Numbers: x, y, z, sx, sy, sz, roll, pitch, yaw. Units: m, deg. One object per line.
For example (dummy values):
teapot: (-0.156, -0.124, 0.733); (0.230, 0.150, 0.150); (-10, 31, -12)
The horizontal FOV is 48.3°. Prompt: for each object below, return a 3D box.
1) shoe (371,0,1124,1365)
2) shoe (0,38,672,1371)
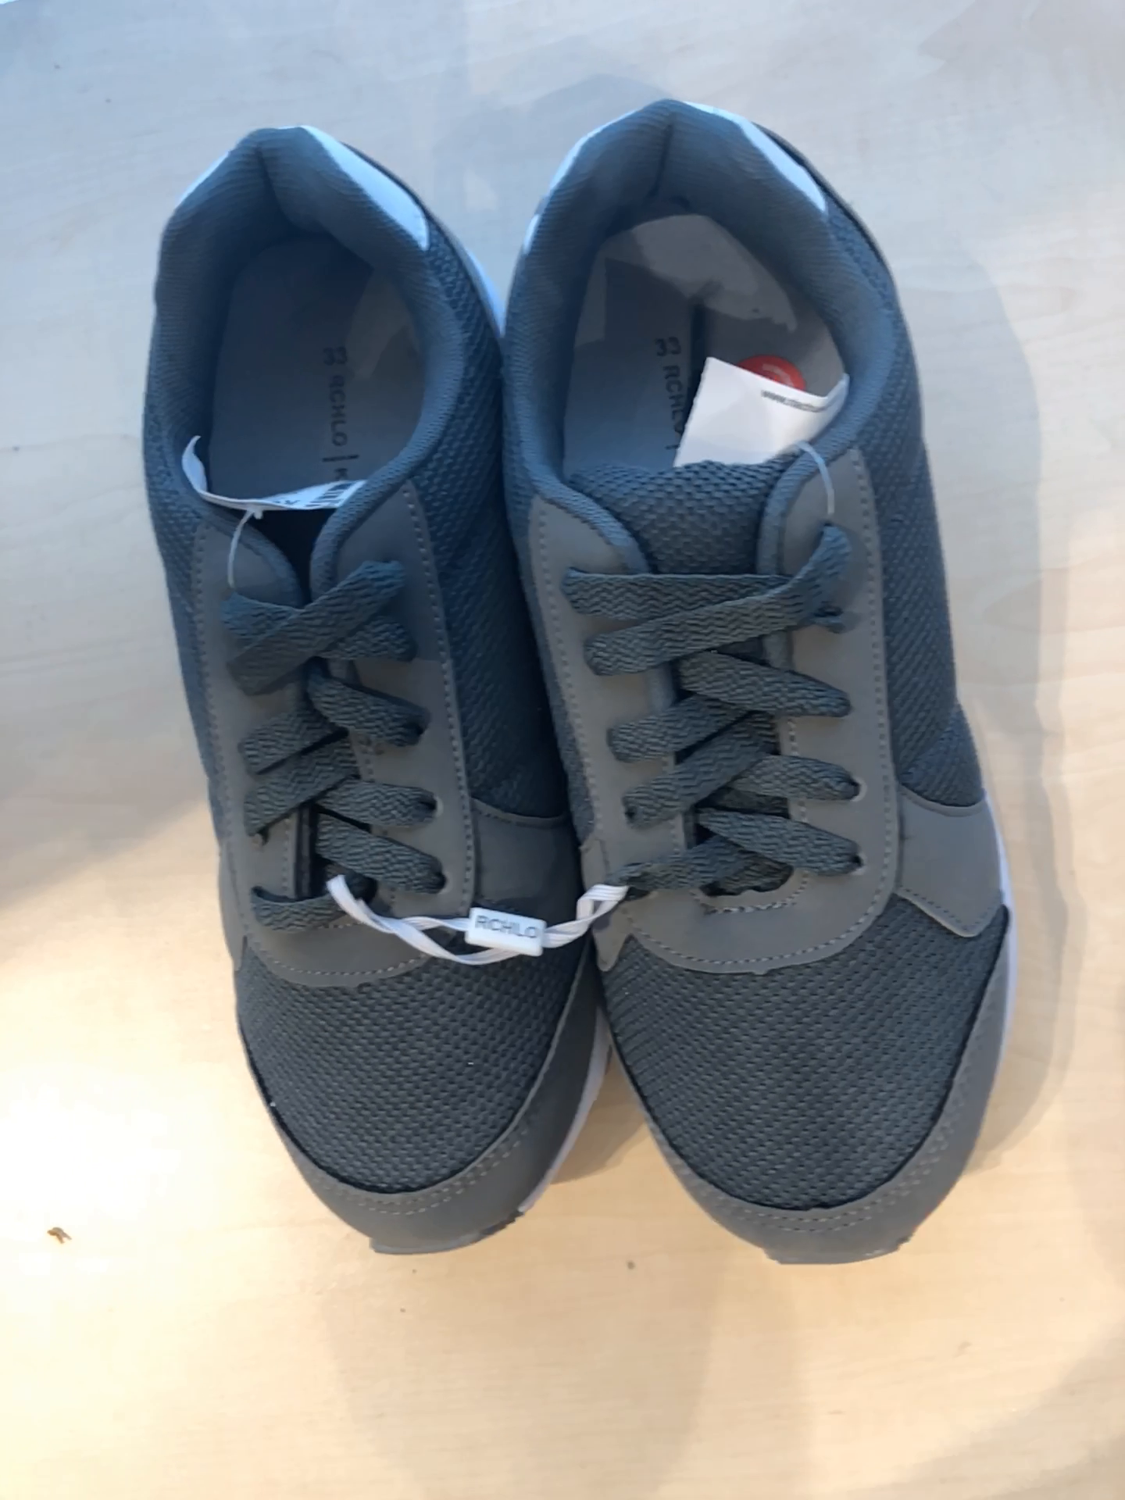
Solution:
shoe: (0.040, -0.017, 0.271); (0.100, 0.100, 0.240); (-11, 83, 8)
shoe: (-0.045, -0.007, 0.276); (0.100, 0.100, 0.230); (-8, 83, 8)
